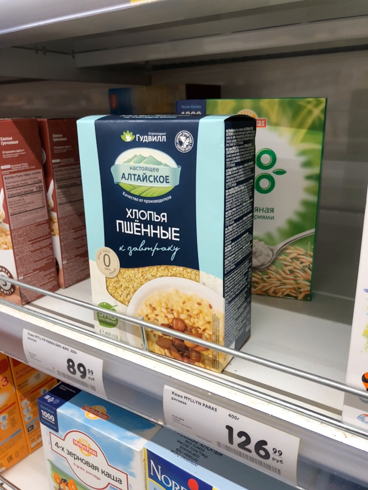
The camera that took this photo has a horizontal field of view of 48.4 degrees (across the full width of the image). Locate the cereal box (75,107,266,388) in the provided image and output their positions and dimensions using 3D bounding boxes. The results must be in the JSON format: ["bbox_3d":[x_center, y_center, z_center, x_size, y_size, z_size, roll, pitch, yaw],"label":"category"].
[{"bbox_3d":[-0.009,-0.005,0.334,0.130,0.199,0.060,8,20,29],"label":"cereal box"}]
